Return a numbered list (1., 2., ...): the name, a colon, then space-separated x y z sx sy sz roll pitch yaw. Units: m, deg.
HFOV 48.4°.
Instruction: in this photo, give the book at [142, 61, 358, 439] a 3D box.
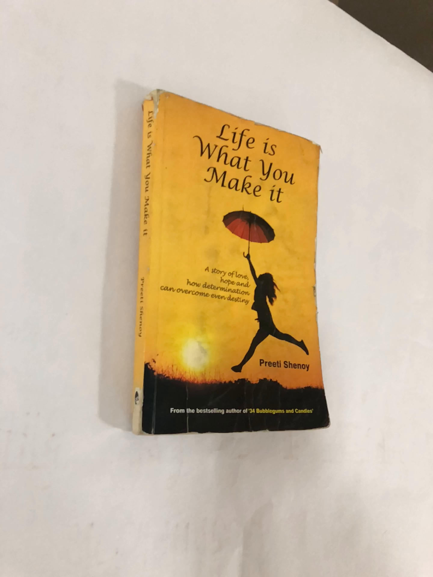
1. book: 0.026 -0.019 0.301 0.140 0.020 0.210 9 74 -32
